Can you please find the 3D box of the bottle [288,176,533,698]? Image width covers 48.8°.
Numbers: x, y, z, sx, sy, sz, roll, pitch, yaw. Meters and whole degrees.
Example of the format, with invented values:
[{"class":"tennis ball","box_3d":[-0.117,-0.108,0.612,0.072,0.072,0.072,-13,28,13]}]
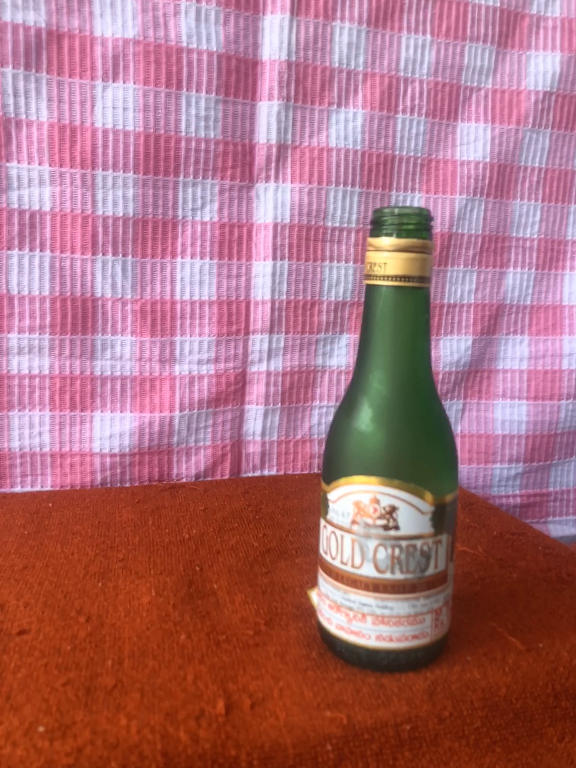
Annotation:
[{"class":"bottle","box_3d":[0.046,0.015,0.240,0.060,0.170,0.060,4,11,-1]}]
